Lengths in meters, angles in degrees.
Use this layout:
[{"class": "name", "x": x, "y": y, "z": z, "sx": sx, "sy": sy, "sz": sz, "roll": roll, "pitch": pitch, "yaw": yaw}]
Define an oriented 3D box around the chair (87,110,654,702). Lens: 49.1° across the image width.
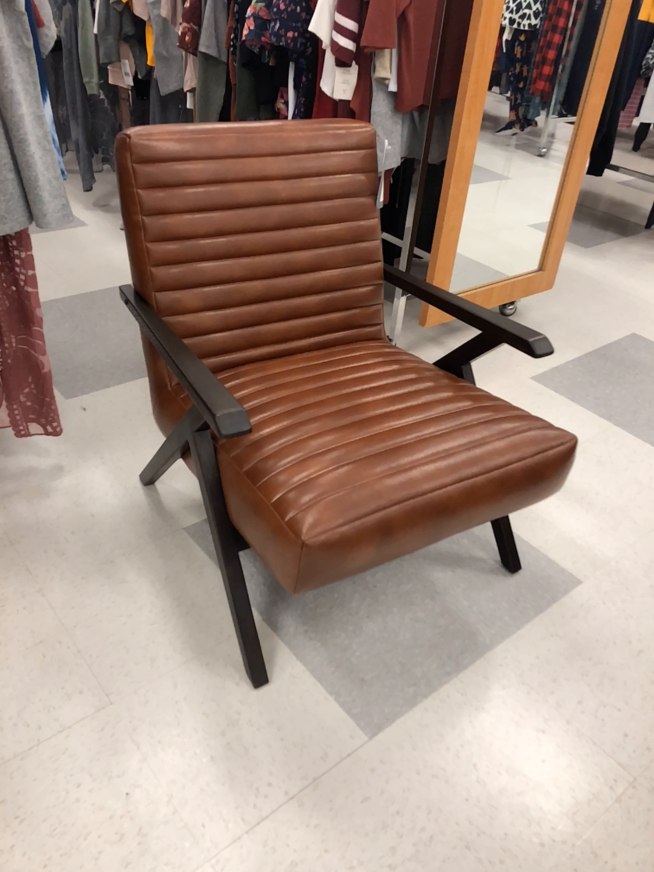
[{"class": "chair", "x": 0.021, "y": -0.130, "z": 1.357, "sx": 0.677, "sy": 0.755, "sz": 0.679, "roll": -15, "pitch": 40, "yaw": -27}]
